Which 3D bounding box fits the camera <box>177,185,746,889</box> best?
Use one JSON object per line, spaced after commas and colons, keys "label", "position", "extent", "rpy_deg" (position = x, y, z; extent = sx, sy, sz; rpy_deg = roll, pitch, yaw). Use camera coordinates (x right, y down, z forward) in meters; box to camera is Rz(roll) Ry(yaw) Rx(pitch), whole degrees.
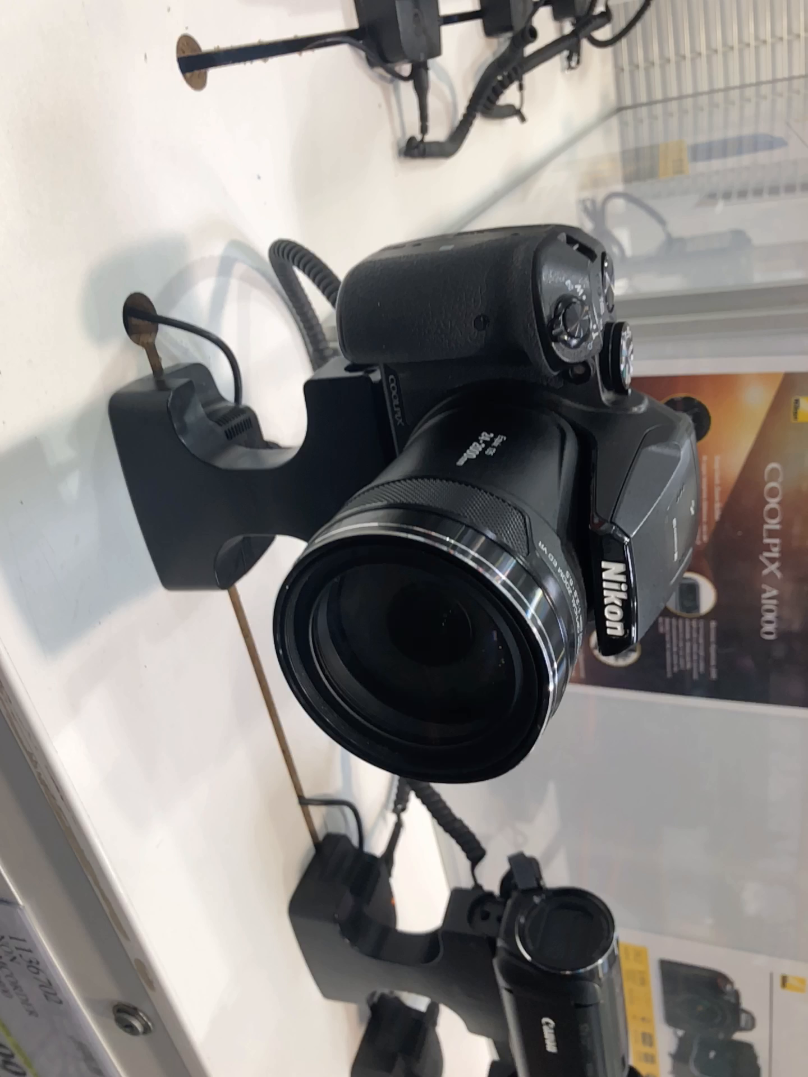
{"label": "camera", "position": [0.039, -0.014, 0.268], "extent": [0.151, 0.109, 0.140], "rpy_deg": [-52, 138, -55]}
